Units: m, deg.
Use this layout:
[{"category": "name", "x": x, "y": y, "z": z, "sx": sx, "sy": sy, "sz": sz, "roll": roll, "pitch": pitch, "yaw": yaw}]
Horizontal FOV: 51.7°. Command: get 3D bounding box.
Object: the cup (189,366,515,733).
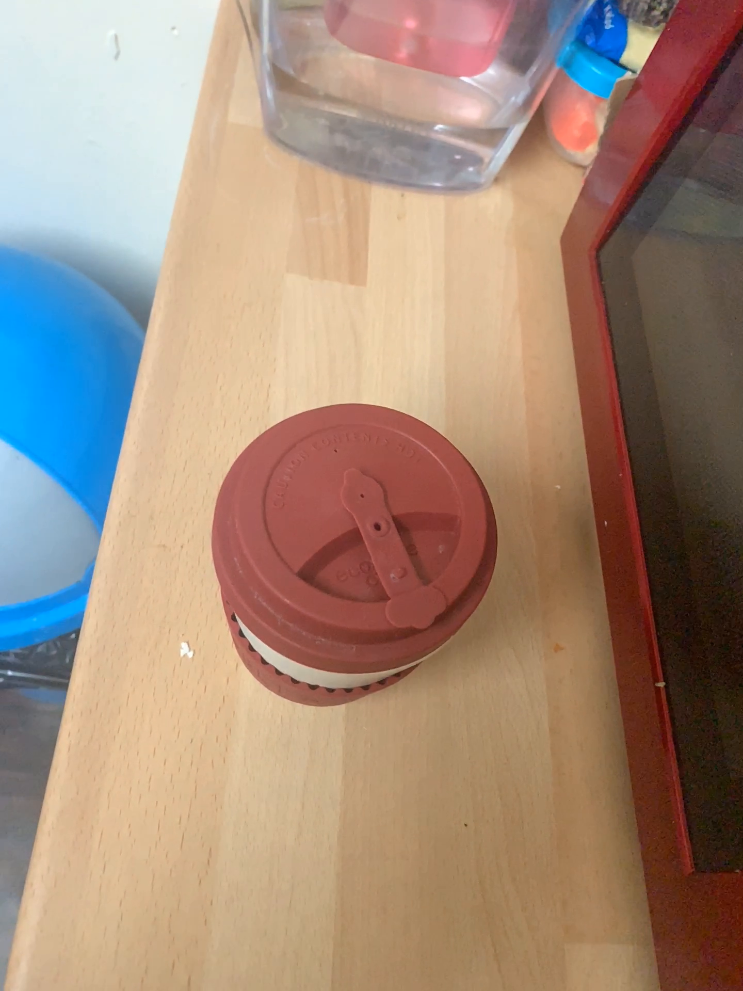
[{"category": "cup", "x": -0.015, "y": 0.028, "z": 0.271, "sx": 0.086, "sy": 0.115, "sz": 0.088, "roll": 5, "pitch": 63, "yaw": -10}]
